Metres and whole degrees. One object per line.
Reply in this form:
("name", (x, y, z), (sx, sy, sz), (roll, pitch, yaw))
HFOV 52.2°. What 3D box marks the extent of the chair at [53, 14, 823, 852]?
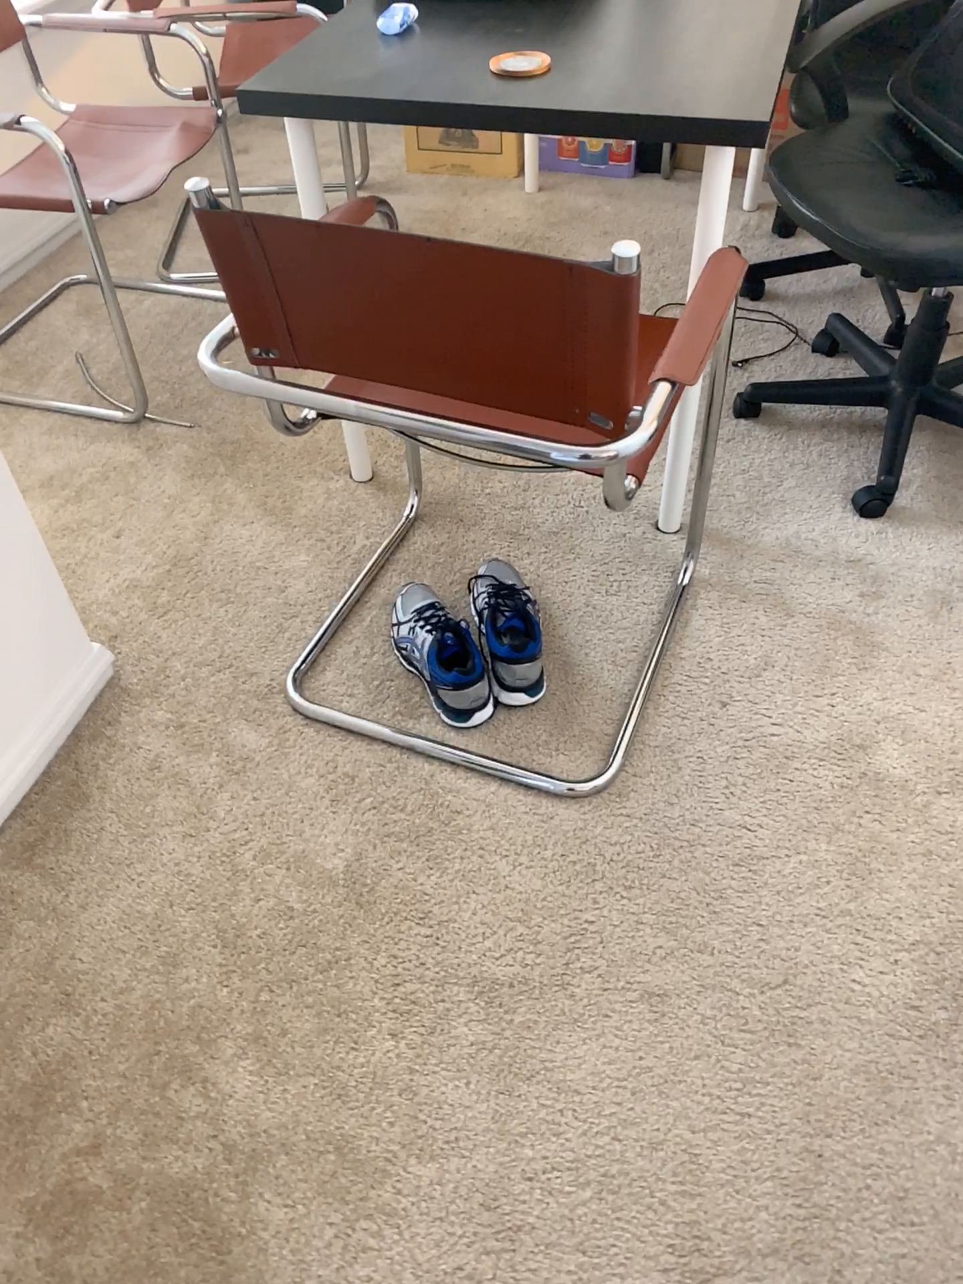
("chair", (0.008, -0.282, 1.337), (0.621, 0.806, 0.622), (16, 49, 17))
